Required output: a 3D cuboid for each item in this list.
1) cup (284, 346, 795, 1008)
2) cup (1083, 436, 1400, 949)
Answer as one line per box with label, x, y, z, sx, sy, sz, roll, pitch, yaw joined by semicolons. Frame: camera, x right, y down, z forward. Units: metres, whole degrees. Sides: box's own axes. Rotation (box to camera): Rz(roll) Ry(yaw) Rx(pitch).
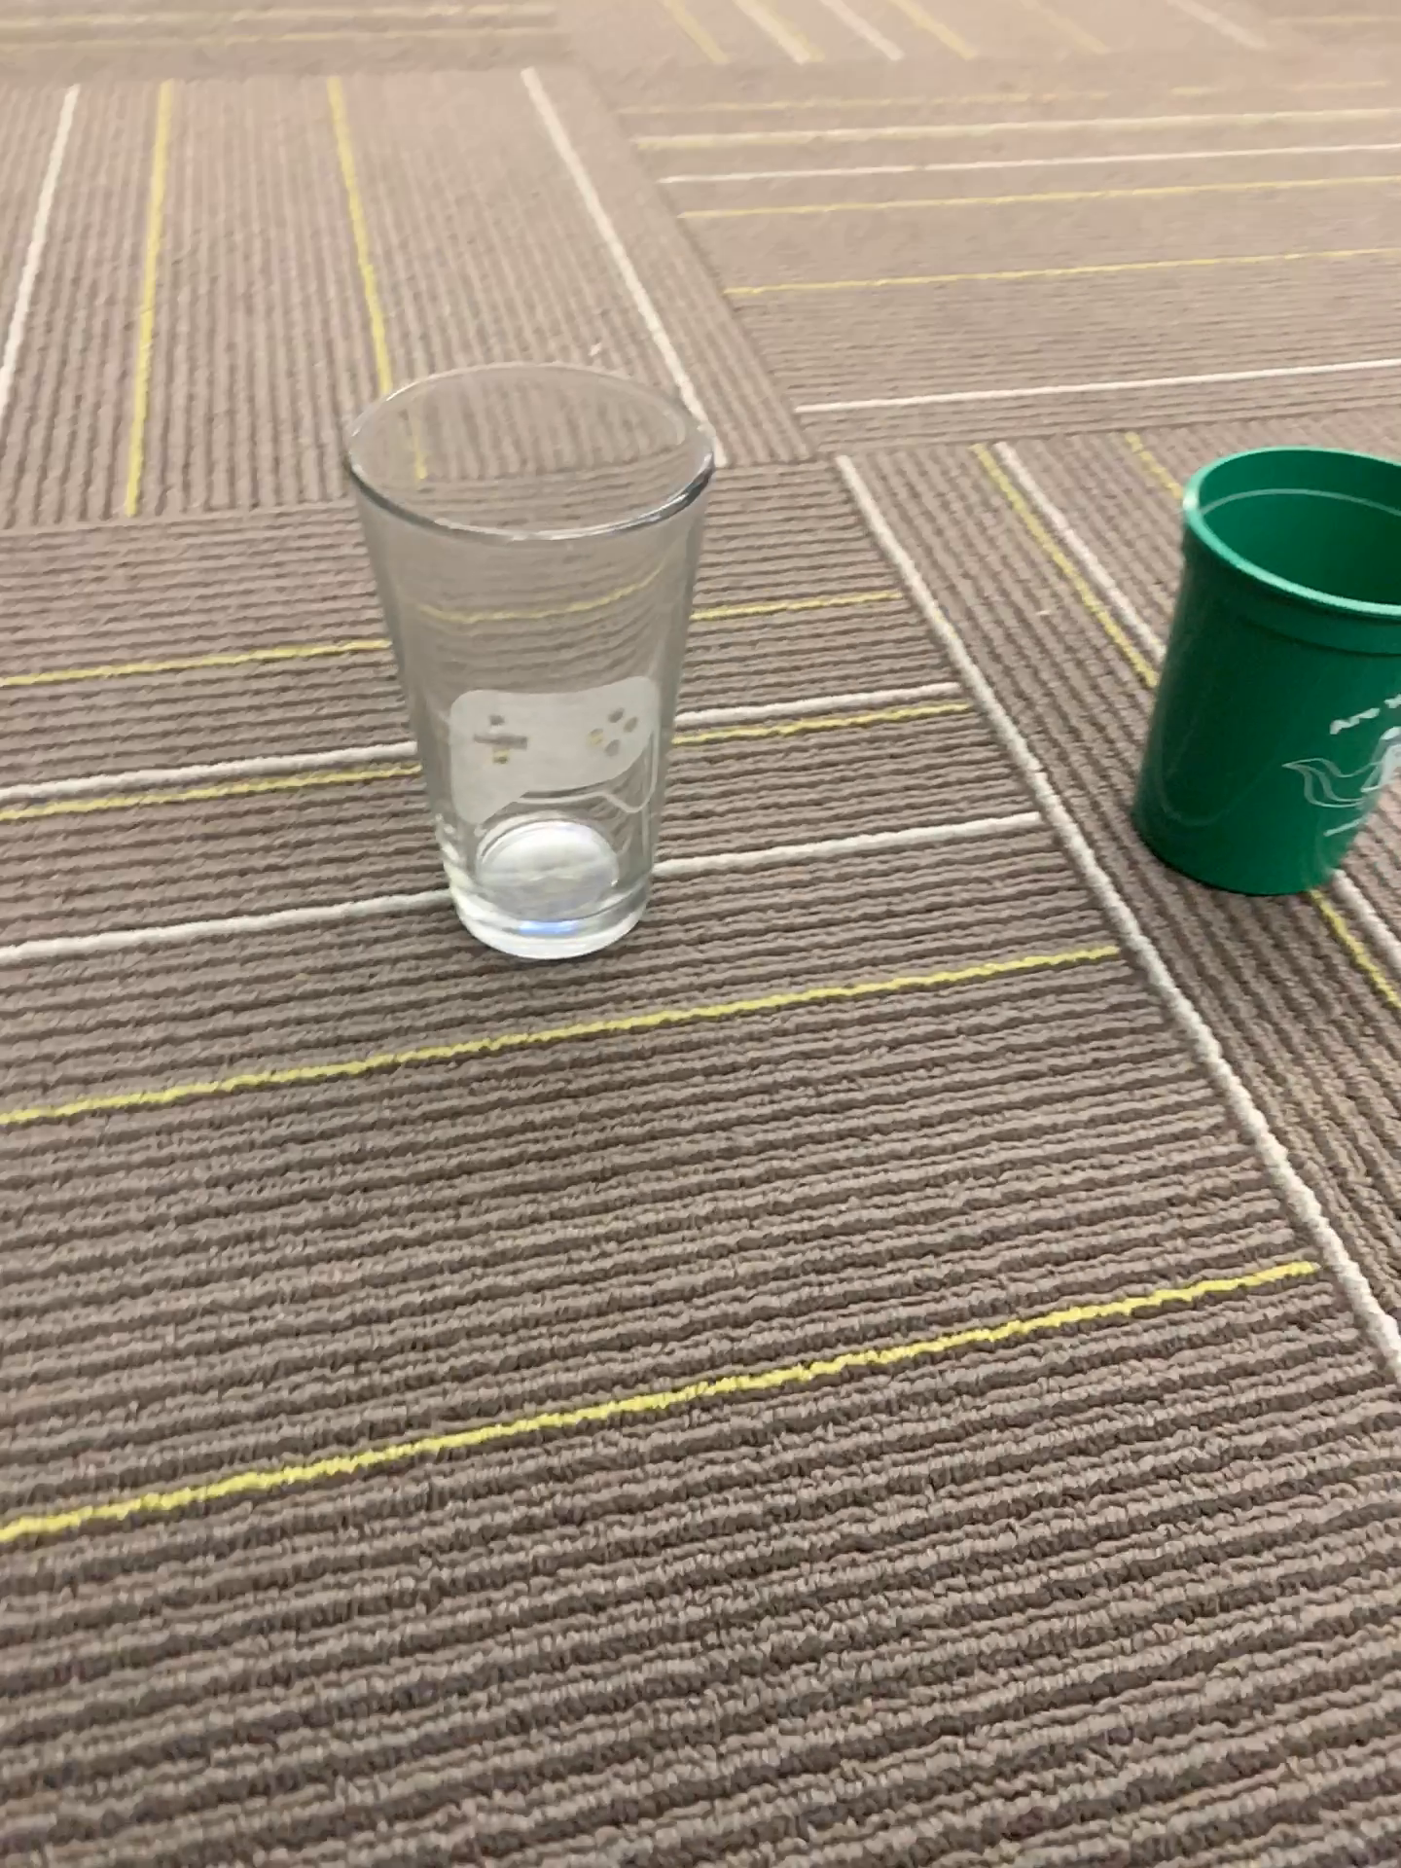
cup;-0.040;-0.065;0.365;0.090;0.119;0.090;1;45;-1
cup;0.169;-0.068;0.419;0.070;0.119;0.080;-4;45;-6
